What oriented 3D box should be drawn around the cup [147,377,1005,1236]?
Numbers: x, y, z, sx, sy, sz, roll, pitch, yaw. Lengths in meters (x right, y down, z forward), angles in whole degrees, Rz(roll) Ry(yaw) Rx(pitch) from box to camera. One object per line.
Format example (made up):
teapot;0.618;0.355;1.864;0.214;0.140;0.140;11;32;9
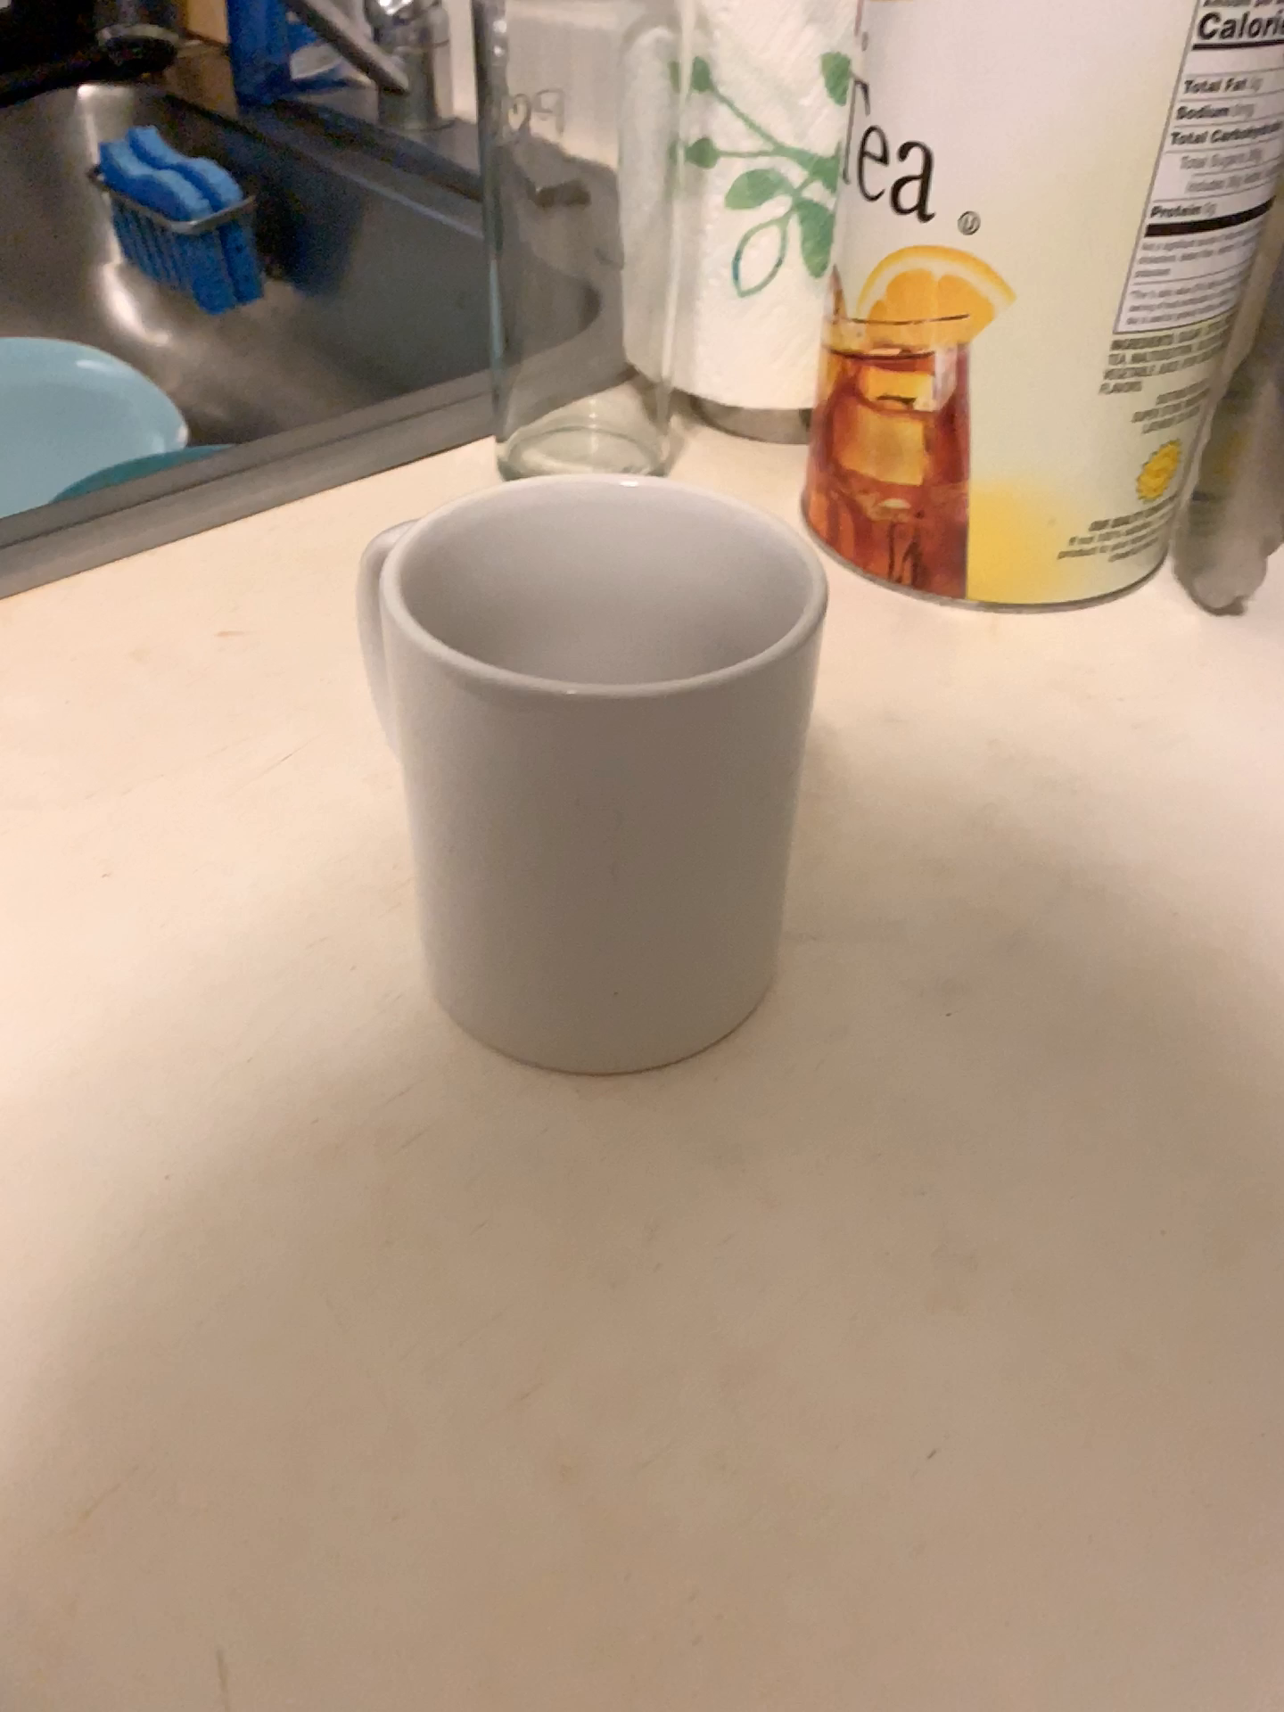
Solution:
cup;-0.017;-0.018;0.290;0.140;0.109;0.090;31;49;27
